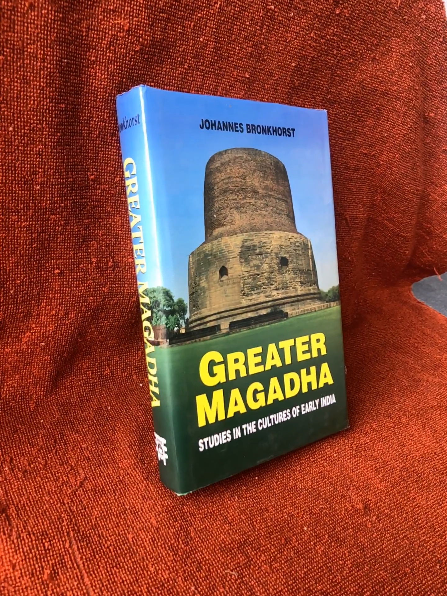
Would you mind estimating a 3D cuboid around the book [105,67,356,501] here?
[{"bbox_3d":[0.015,-0.012,0.305,0.151,0.220,0.030,-8,6,-36],"label":"book"}]
